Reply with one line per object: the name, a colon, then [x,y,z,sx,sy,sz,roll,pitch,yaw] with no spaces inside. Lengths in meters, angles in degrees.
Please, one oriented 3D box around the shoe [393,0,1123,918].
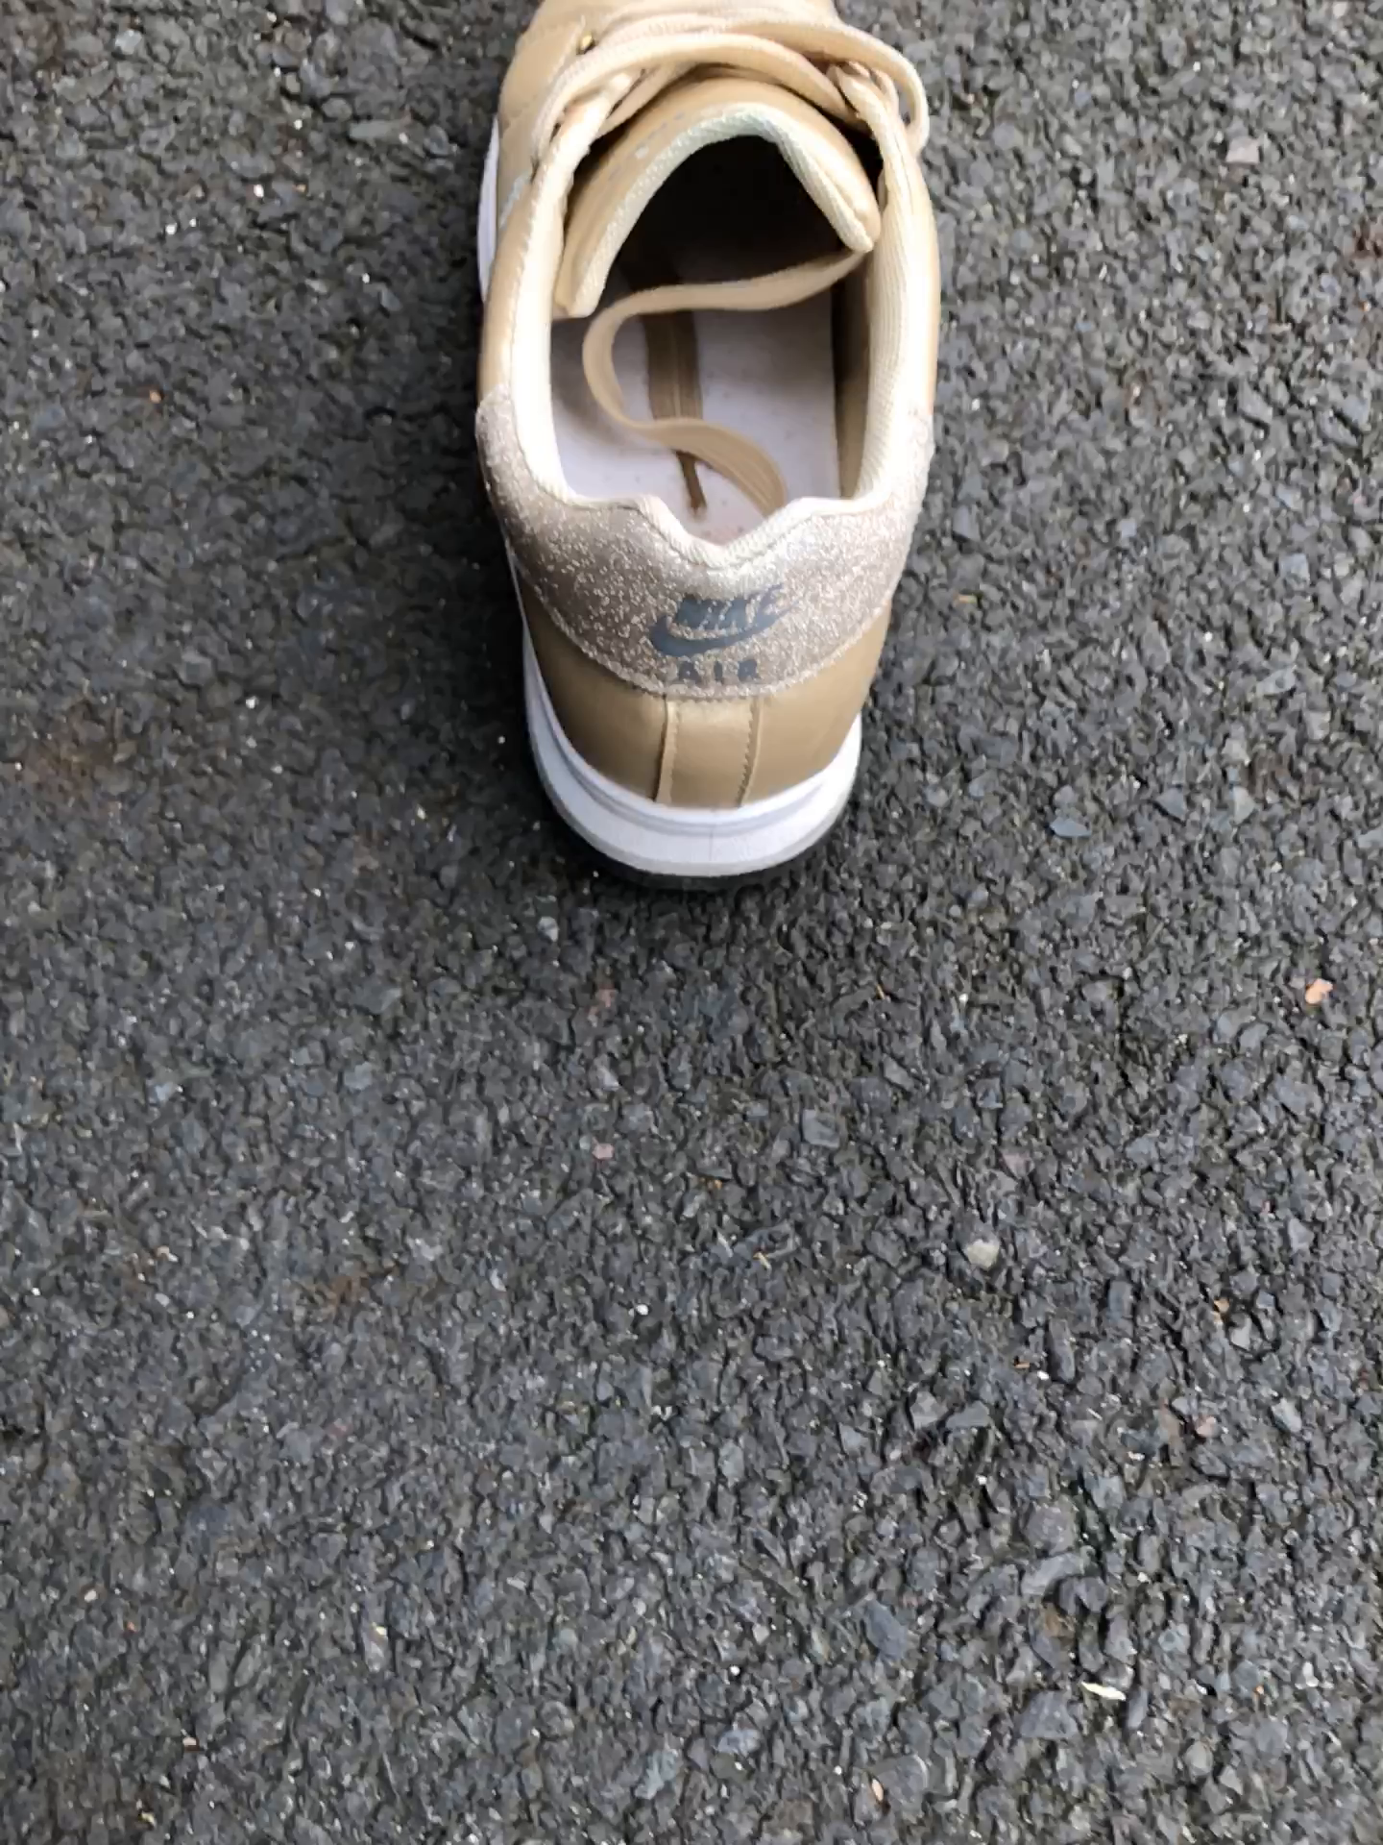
shoe: [0.003,-0.143,0.332,0.116,0.100,0.261,-3,73,-2]
